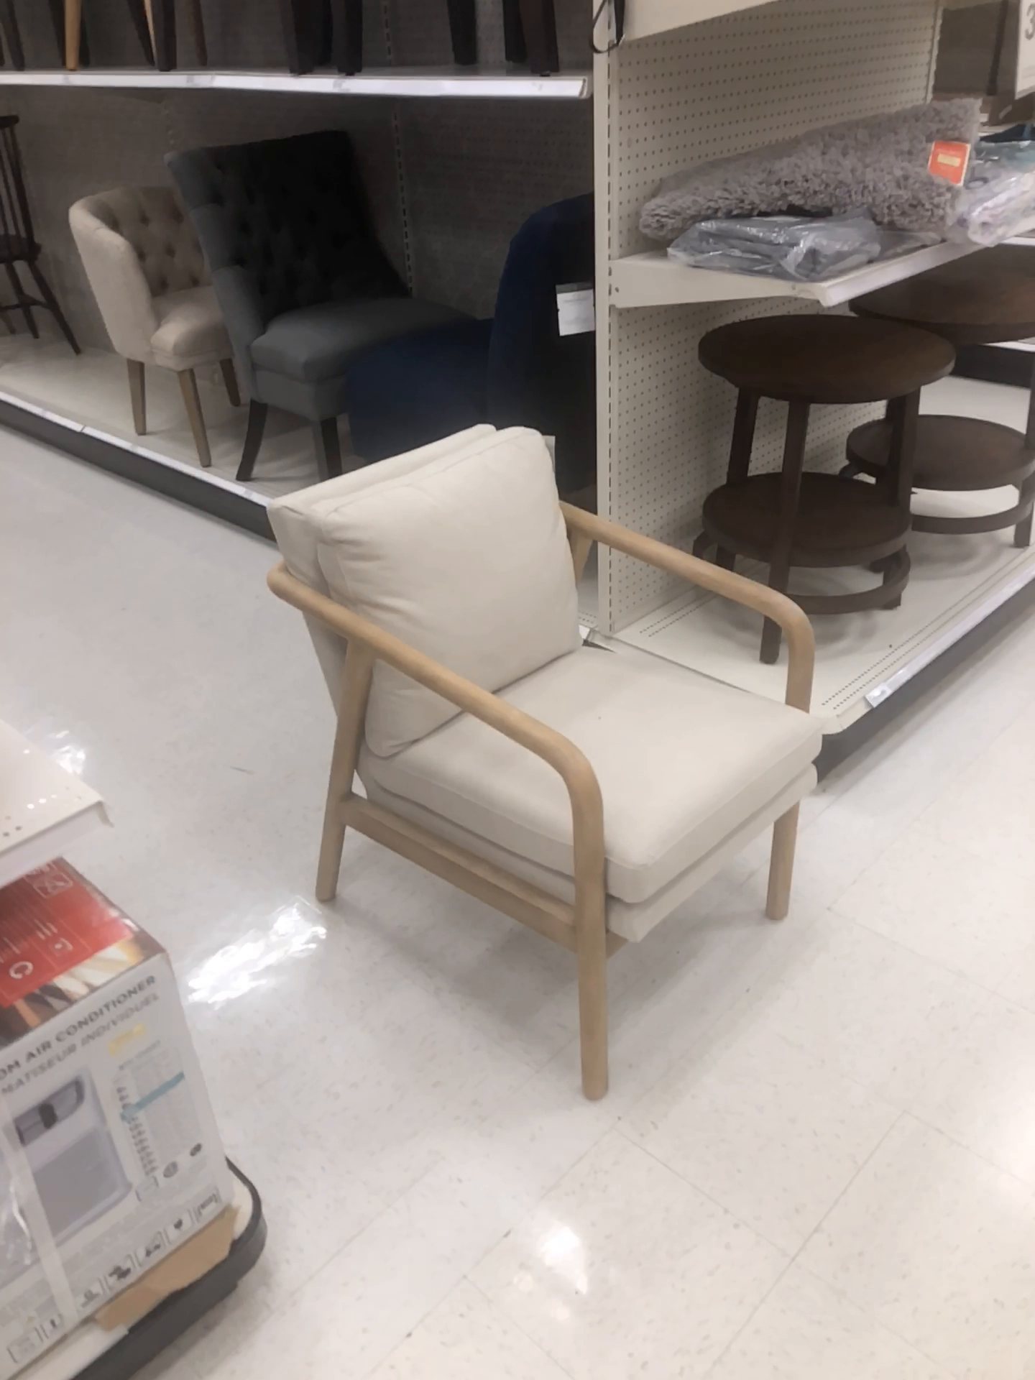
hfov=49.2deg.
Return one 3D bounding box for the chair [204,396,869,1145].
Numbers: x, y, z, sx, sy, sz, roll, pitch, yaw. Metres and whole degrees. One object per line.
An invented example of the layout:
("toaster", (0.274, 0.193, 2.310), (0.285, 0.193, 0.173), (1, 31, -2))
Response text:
("chair", (0.028, 0.062, 1.820), (0.762, 0.806, 0.582), (25, 41, 38))
